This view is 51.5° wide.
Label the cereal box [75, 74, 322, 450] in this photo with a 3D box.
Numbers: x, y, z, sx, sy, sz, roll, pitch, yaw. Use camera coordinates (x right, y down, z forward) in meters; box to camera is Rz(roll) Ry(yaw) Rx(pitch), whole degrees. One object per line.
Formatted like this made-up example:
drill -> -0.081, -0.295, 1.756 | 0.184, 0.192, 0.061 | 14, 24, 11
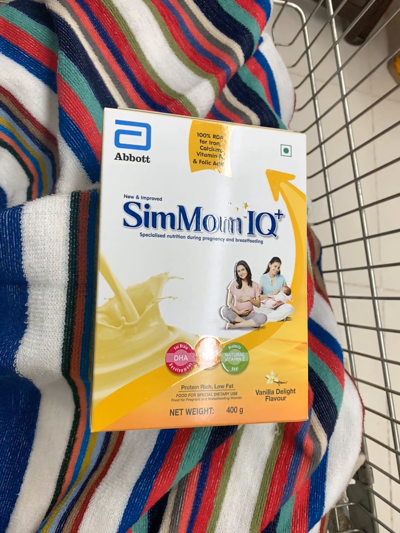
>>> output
cereal box -> 0.000, -0.001, 0.261 | 0.140, 0.050, 0.200 | 3, 85, -15
